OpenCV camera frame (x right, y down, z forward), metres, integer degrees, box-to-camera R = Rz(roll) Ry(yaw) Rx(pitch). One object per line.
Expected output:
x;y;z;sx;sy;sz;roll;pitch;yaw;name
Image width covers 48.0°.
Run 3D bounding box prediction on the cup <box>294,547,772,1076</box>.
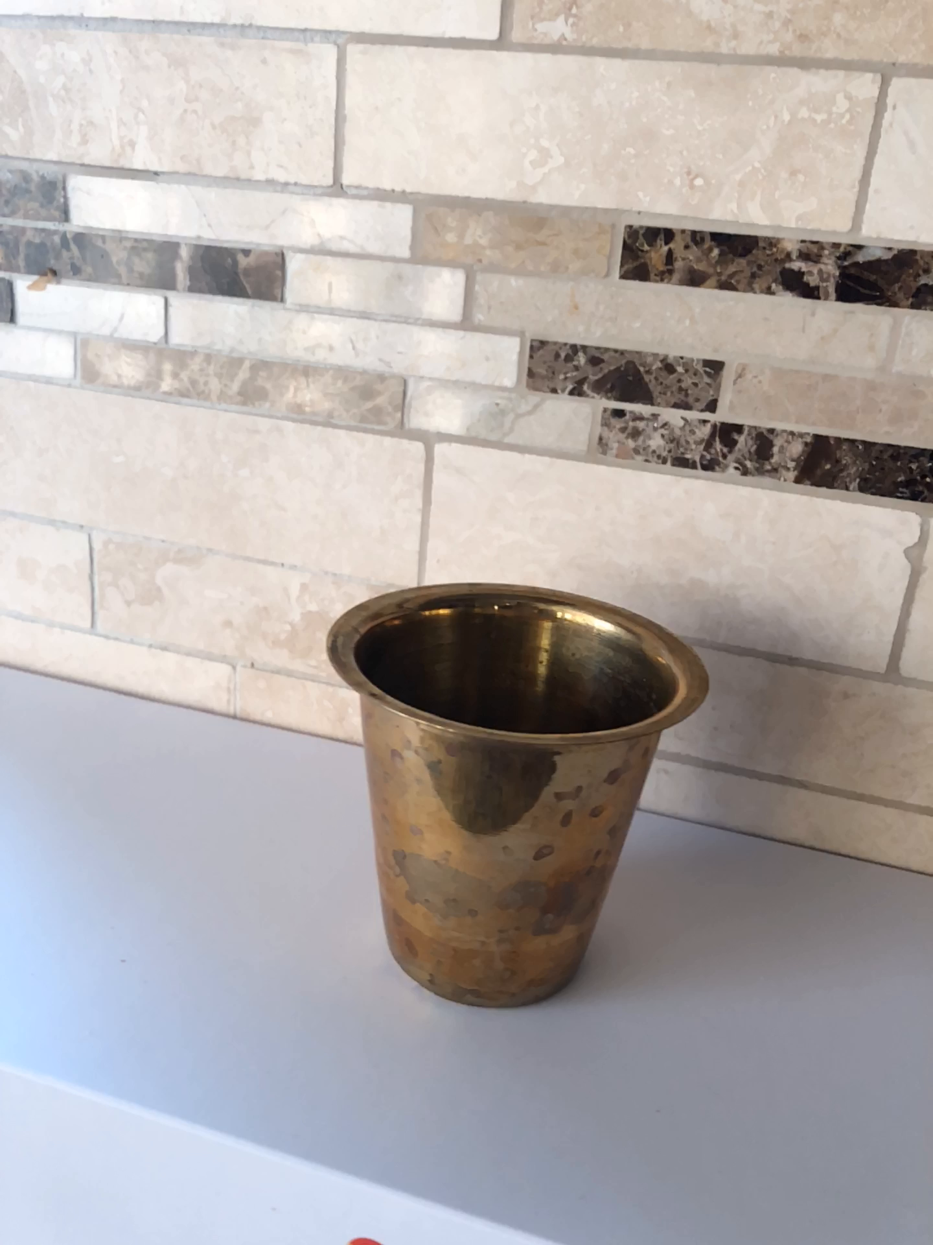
0.016;0.034;0.230;0.083;0.071;0.076;9;22;10;cup
